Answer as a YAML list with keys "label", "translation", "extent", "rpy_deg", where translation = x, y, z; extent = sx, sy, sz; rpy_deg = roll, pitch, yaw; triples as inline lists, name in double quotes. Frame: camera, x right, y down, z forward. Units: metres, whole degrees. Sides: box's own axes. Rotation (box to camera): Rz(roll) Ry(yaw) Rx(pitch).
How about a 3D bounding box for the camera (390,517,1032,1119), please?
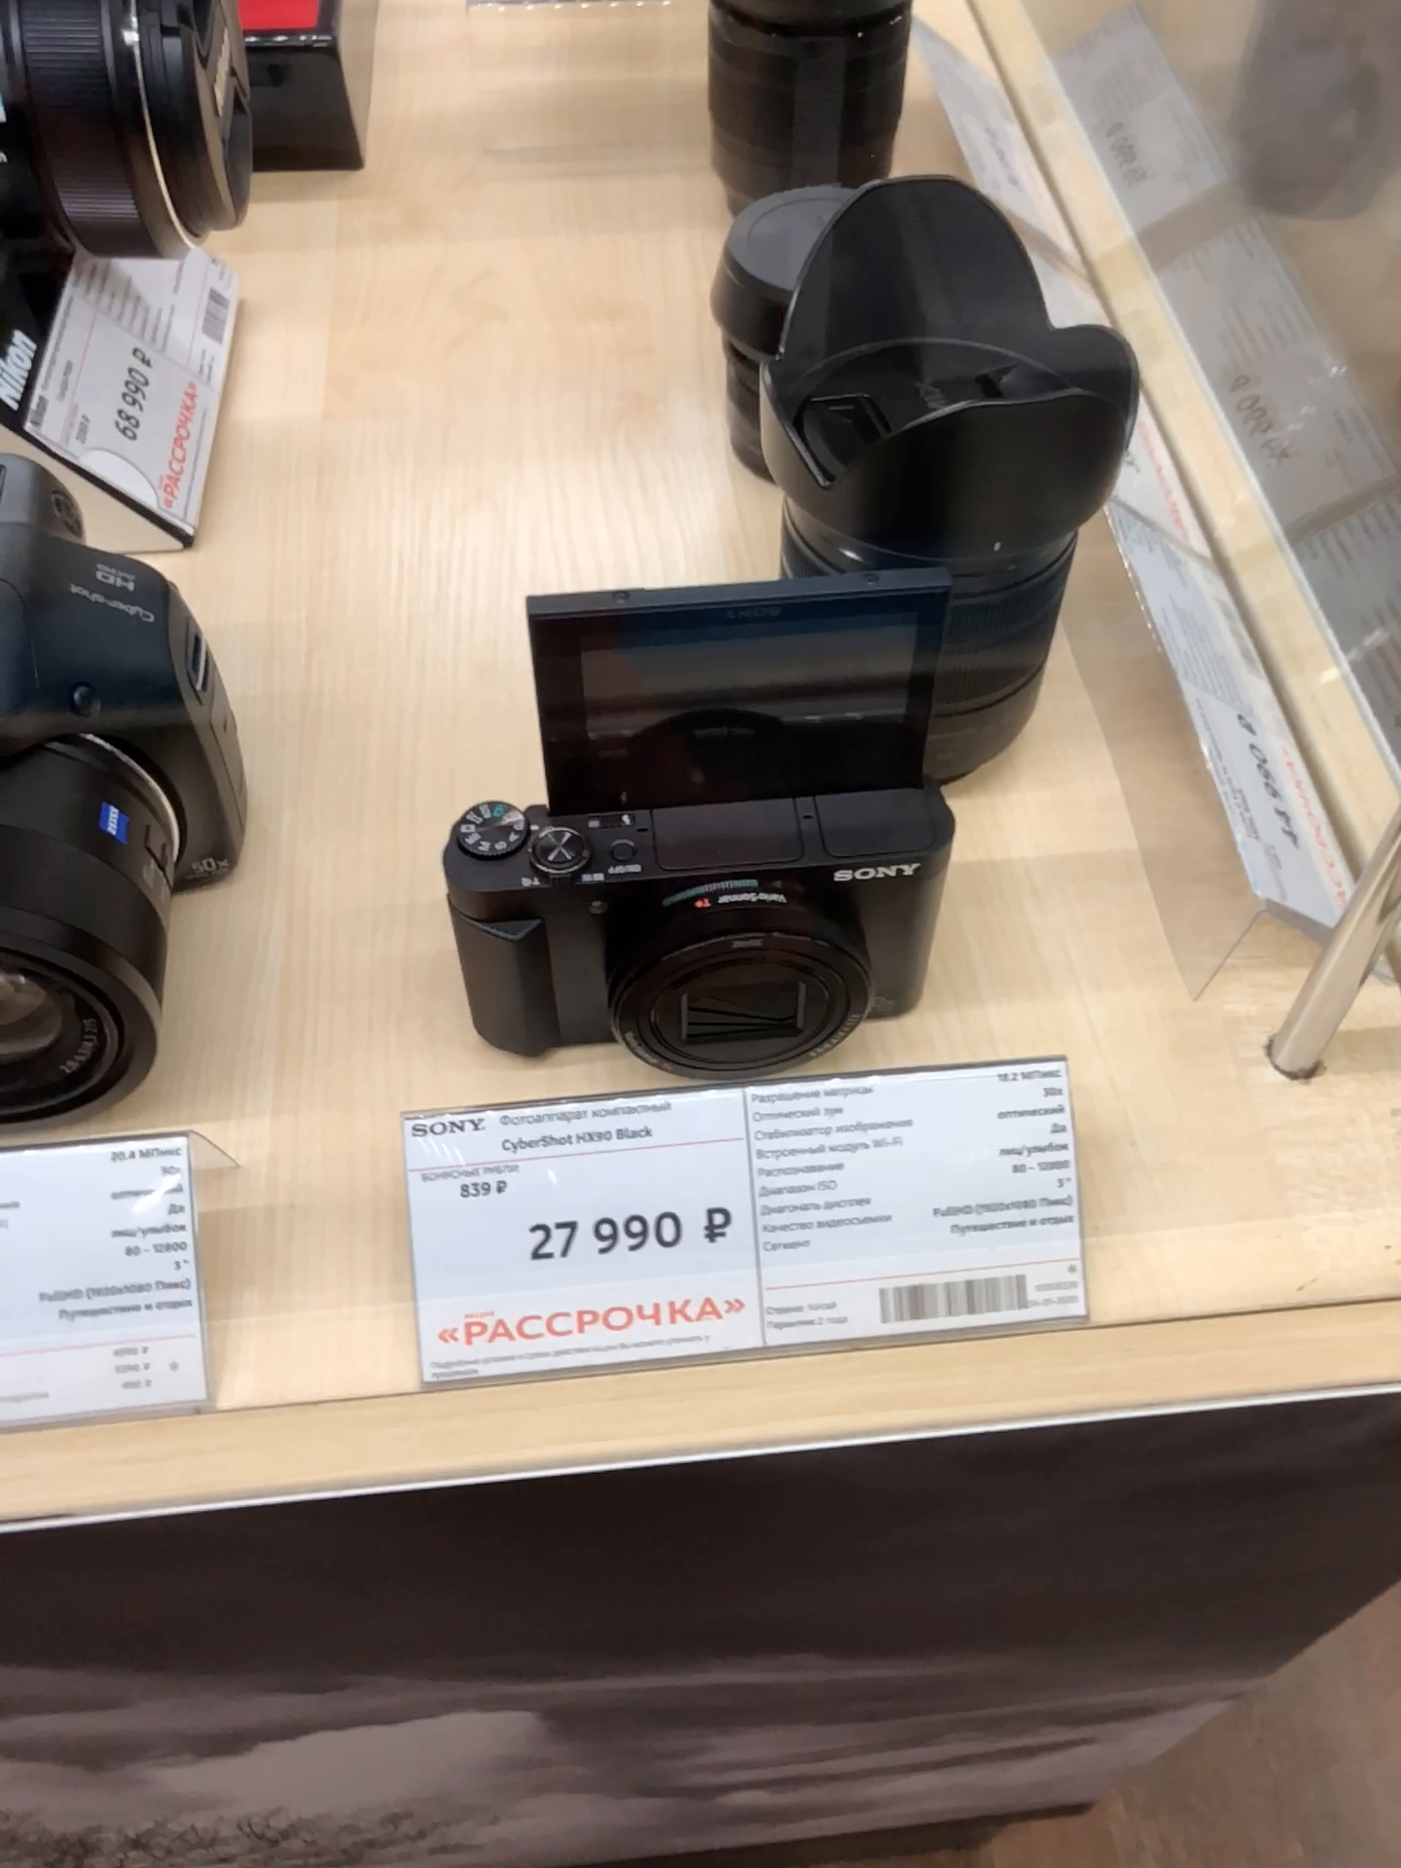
- label: "camera"
  translation: [0.000, -0.018, 0.298]
  extent: [0.100, 0.107, 0.050]
  rpy_deg: [-4, 53, -3]

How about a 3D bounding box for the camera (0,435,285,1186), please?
- label: "camera"
  translation: [-0.170, -0.030, 0.337]
  extent: [0.132, 0.078, 0.136]
  rpy_deg: [-4, 53, -3]
